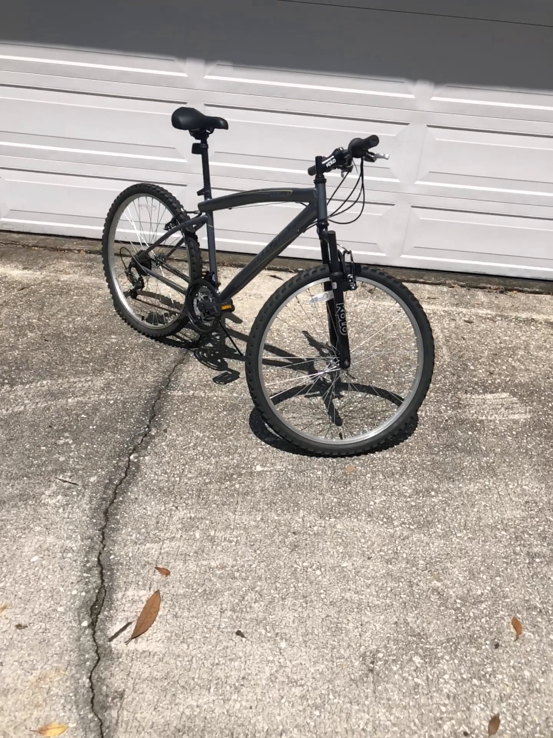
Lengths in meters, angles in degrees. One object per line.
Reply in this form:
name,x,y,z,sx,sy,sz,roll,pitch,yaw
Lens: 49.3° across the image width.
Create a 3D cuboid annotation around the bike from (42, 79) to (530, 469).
bike,-0.032,-0.473,2.421,1.532,0.980,0.682,24,35,25
